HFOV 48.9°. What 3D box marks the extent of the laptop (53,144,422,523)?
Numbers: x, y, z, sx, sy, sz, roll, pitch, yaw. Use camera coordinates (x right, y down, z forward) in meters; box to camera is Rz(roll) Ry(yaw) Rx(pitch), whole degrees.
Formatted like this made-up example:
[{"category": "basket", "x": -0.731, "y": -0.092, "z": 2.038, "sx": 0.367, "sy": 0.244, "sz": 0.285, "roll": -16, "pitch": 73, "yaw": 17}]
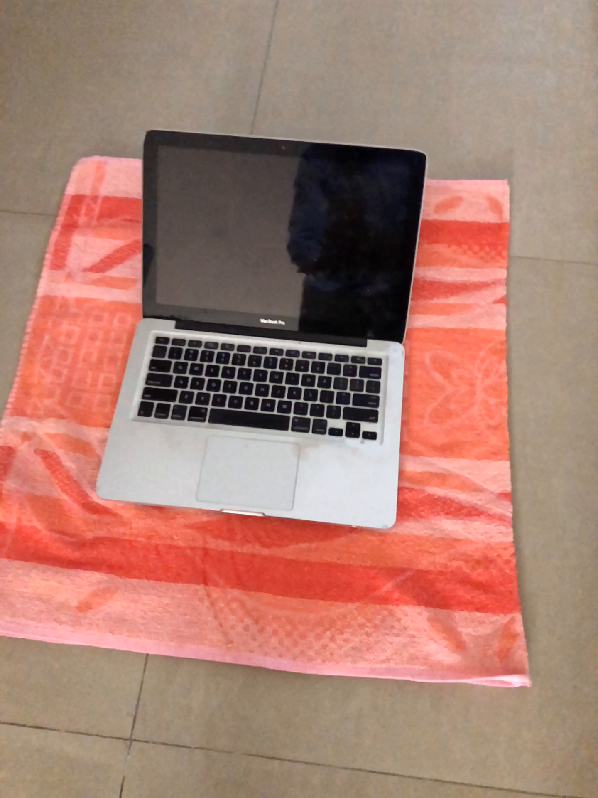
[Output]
[{"category": "laptop", "x": -0.039, "y": -0.079, "z": 0.713, "sx": 0.309, "sy": 0.133, "sz": 0.373, "roll": 6, "pitch": 64, "yaw": 3}]
